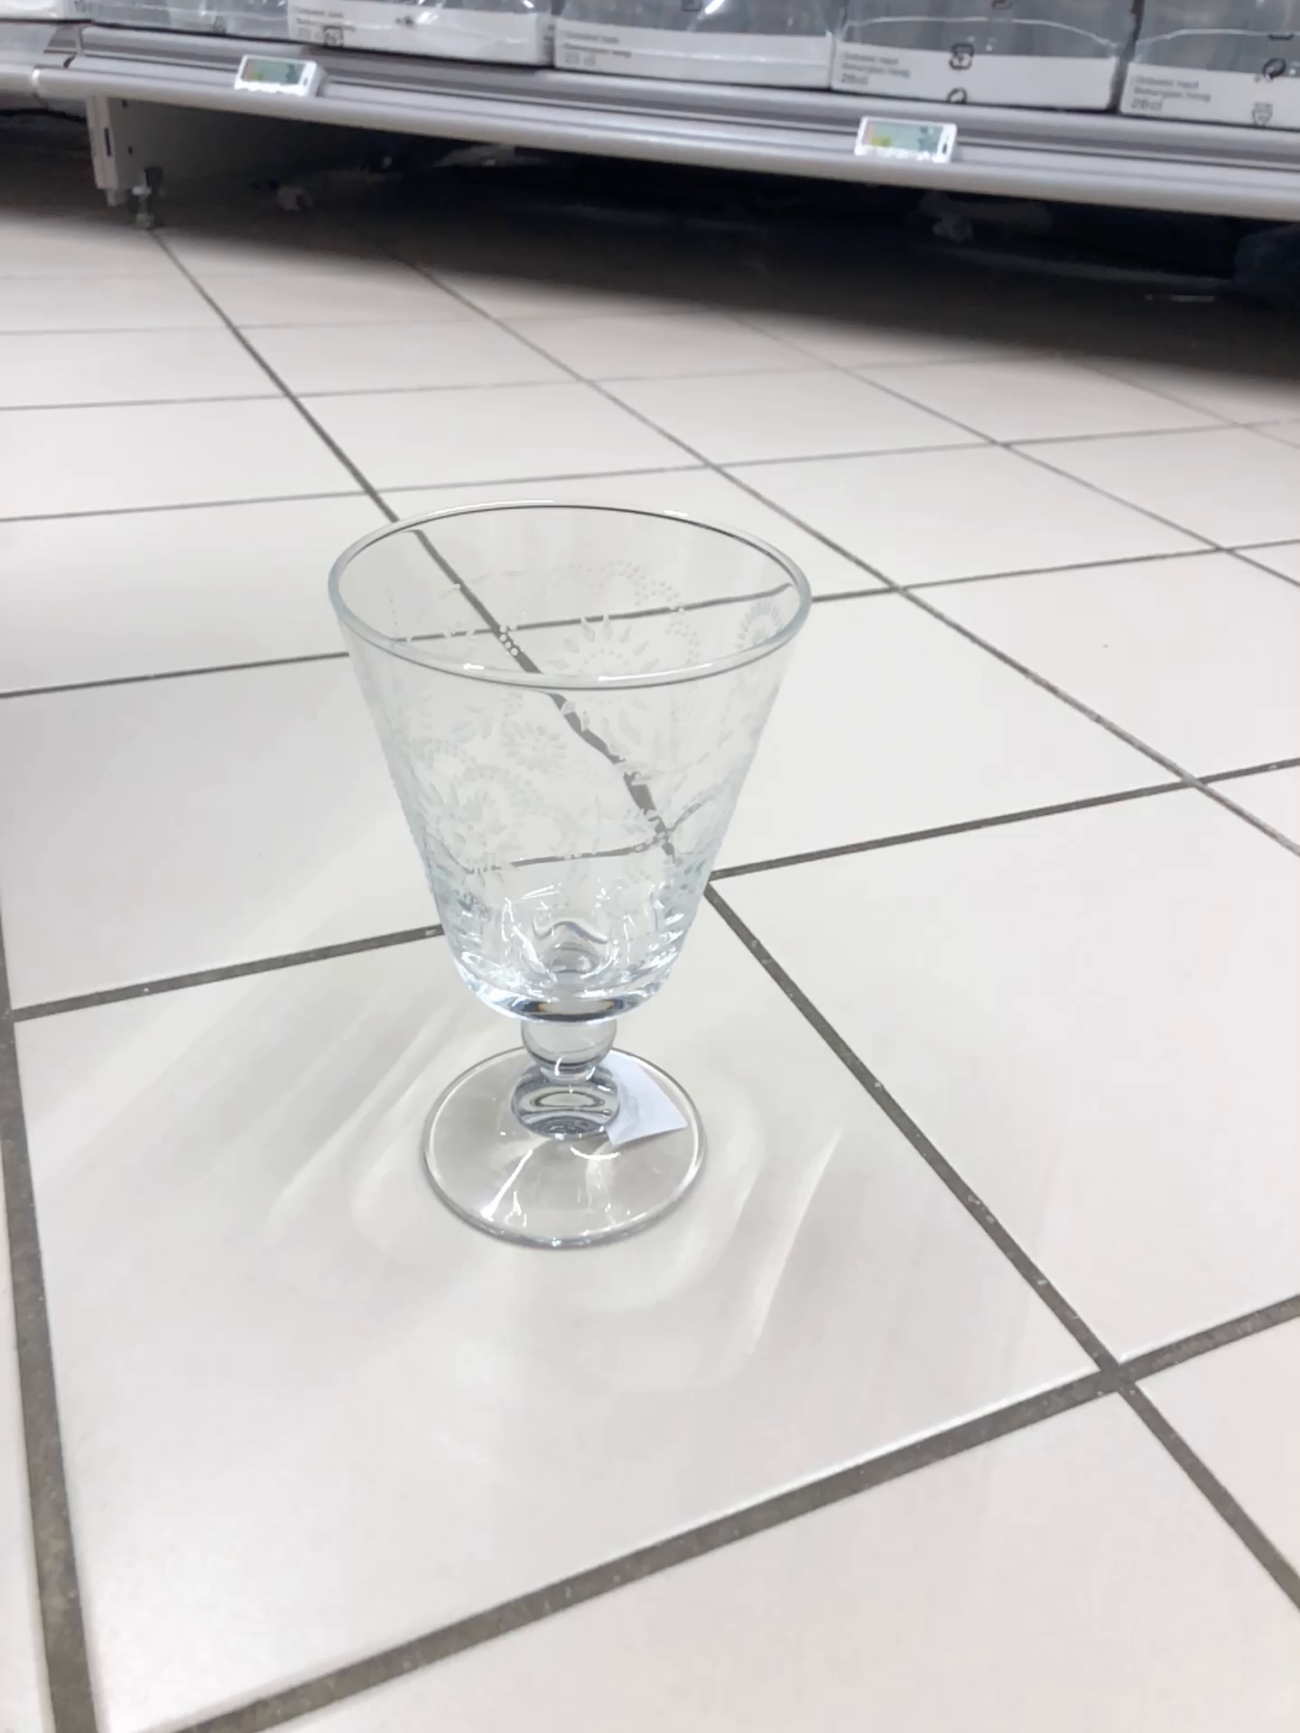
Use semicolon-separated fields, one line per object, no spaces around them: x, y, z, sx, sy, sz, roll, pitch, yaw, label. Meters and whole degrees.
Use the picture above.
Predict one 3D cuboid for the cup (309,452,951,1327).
-0.013;0.000;0.284;0.095;0.138;0.095;3;31;-2;cup
